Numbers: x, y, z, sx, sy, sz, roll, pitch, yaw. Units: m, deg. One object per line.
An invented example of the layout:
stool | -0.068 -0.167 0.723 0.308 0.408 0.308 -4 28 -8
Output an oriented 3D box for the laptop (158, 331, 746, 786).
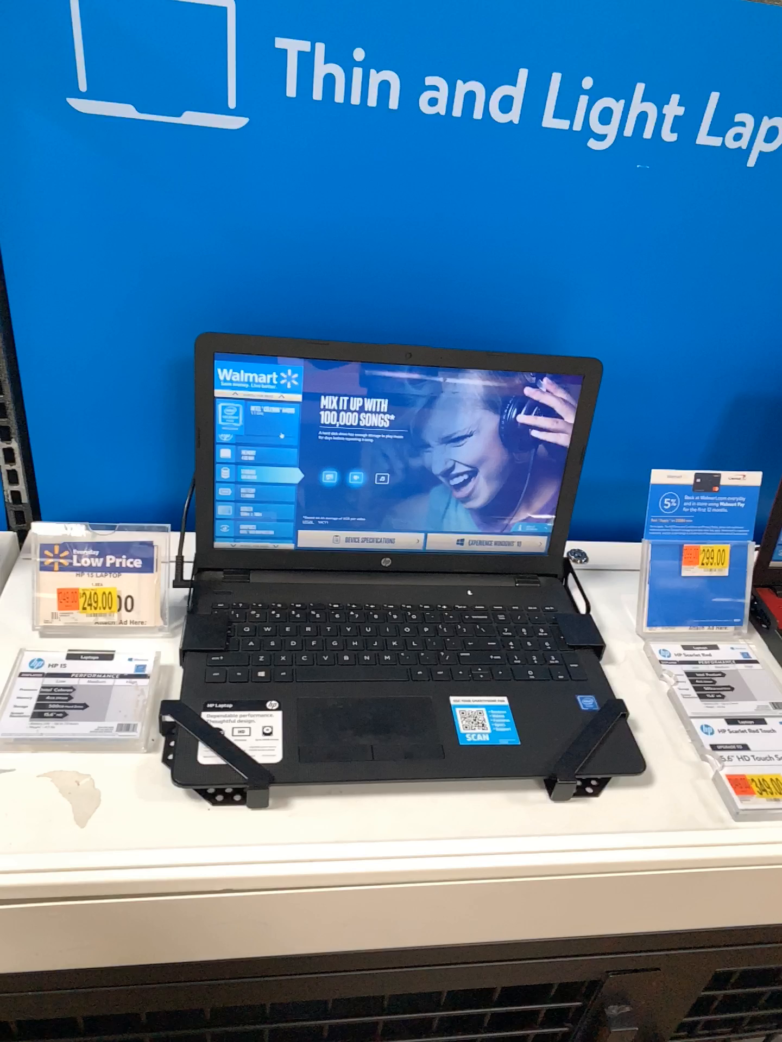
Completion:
laptop | 0.016 0.019 0.657 0.363 0.225 0.287 1 36 -10
